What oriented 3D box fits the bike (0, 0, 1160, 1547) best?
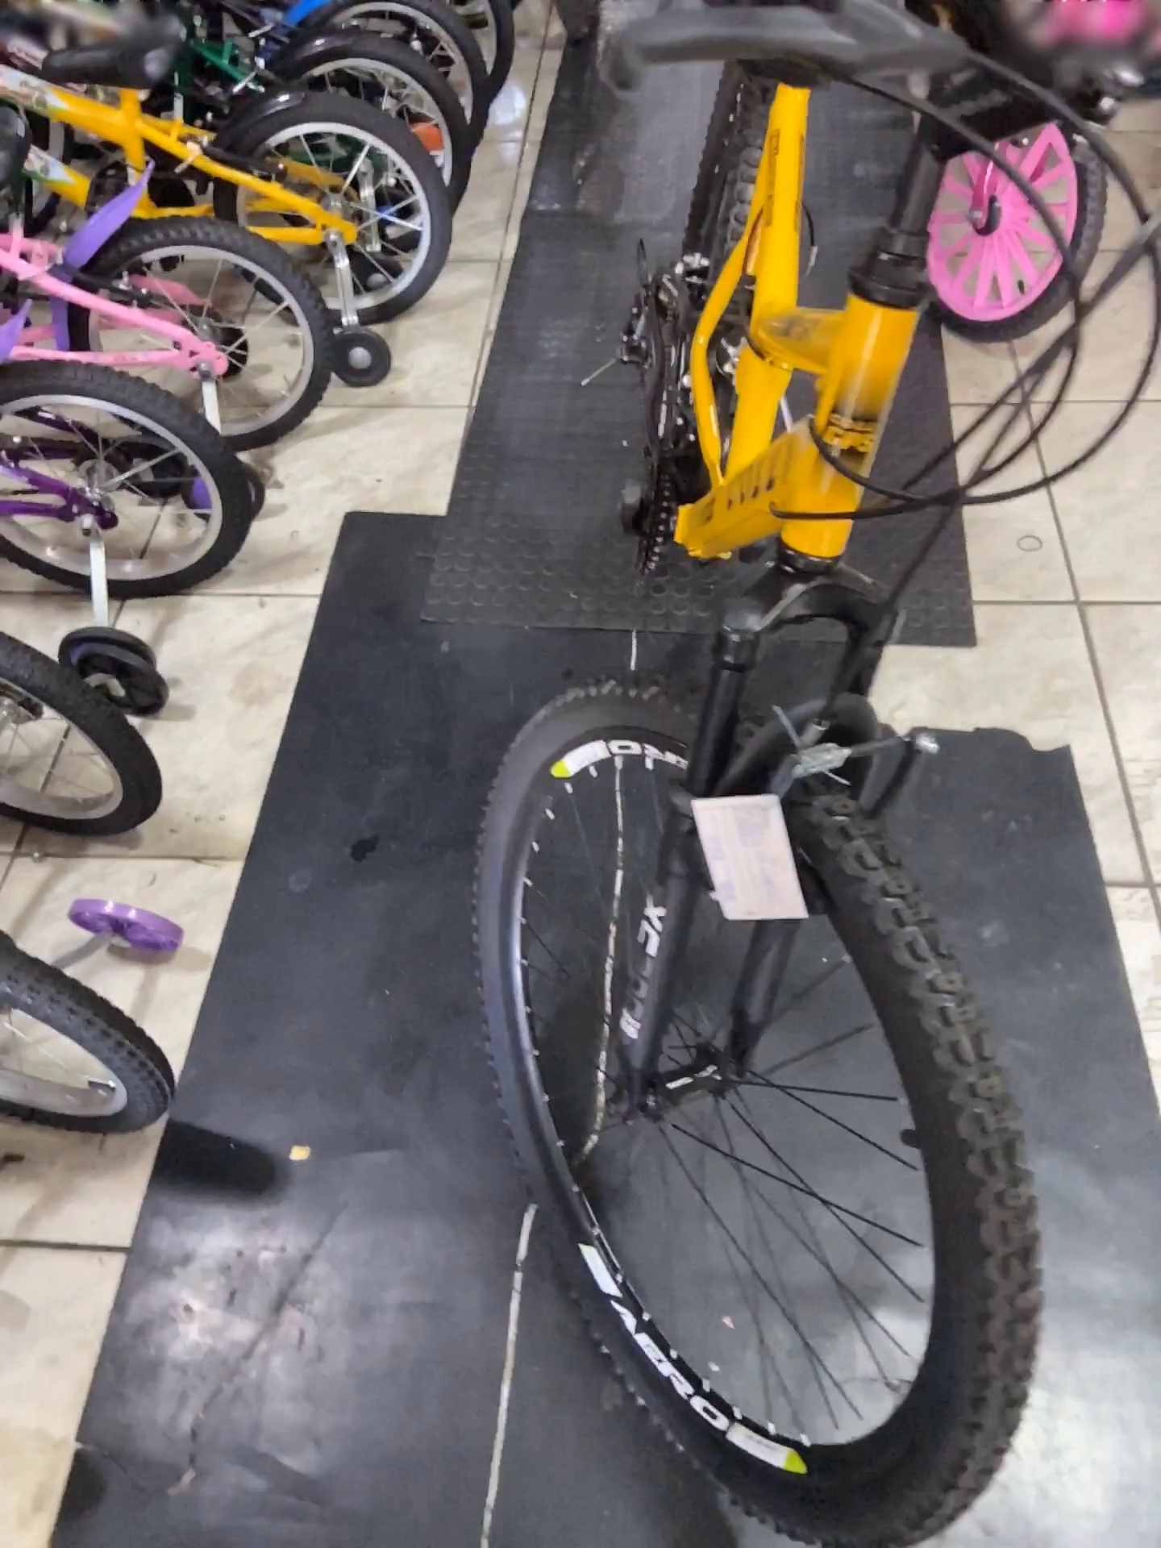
[{"bbox_3d":[0.145,-0.343,0.947,0.475,0.987,1.528,-4,50,2],"label":"bike"}]
